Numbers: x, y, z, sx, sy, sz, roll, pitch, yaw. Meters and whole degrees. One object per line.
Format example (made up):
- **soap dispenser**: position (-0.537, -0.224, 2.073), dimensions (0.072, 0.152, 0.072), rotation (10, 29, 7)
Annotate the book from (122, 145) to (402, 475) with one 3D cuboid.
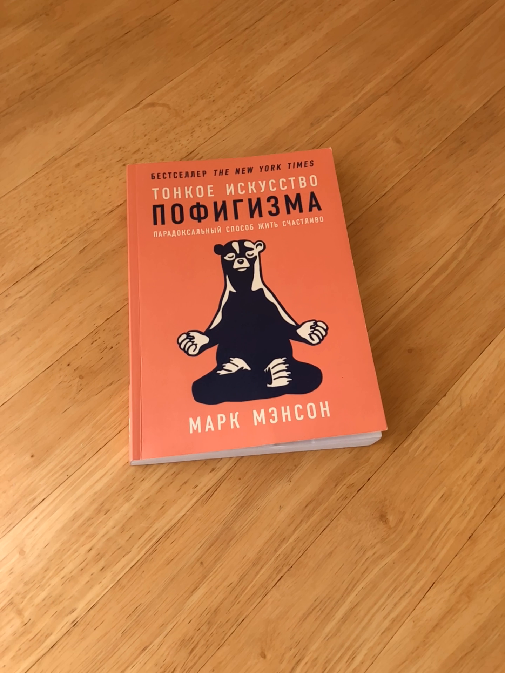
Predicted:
- **book**: position (-0.003, -0.025, 0.345), dimensions (0.143, 0.033, 0.197), rotation (-5, 67, -5)
